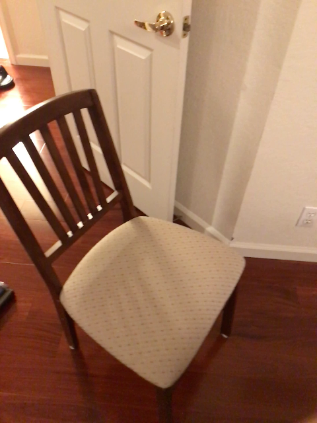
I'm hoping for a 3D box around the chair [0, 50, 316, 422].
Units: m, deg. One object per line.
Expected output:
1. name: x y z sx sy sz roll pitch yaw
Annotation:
1. chair: -0.061 0.167 0.965 0.560 0.924 0.503 27 52 24
